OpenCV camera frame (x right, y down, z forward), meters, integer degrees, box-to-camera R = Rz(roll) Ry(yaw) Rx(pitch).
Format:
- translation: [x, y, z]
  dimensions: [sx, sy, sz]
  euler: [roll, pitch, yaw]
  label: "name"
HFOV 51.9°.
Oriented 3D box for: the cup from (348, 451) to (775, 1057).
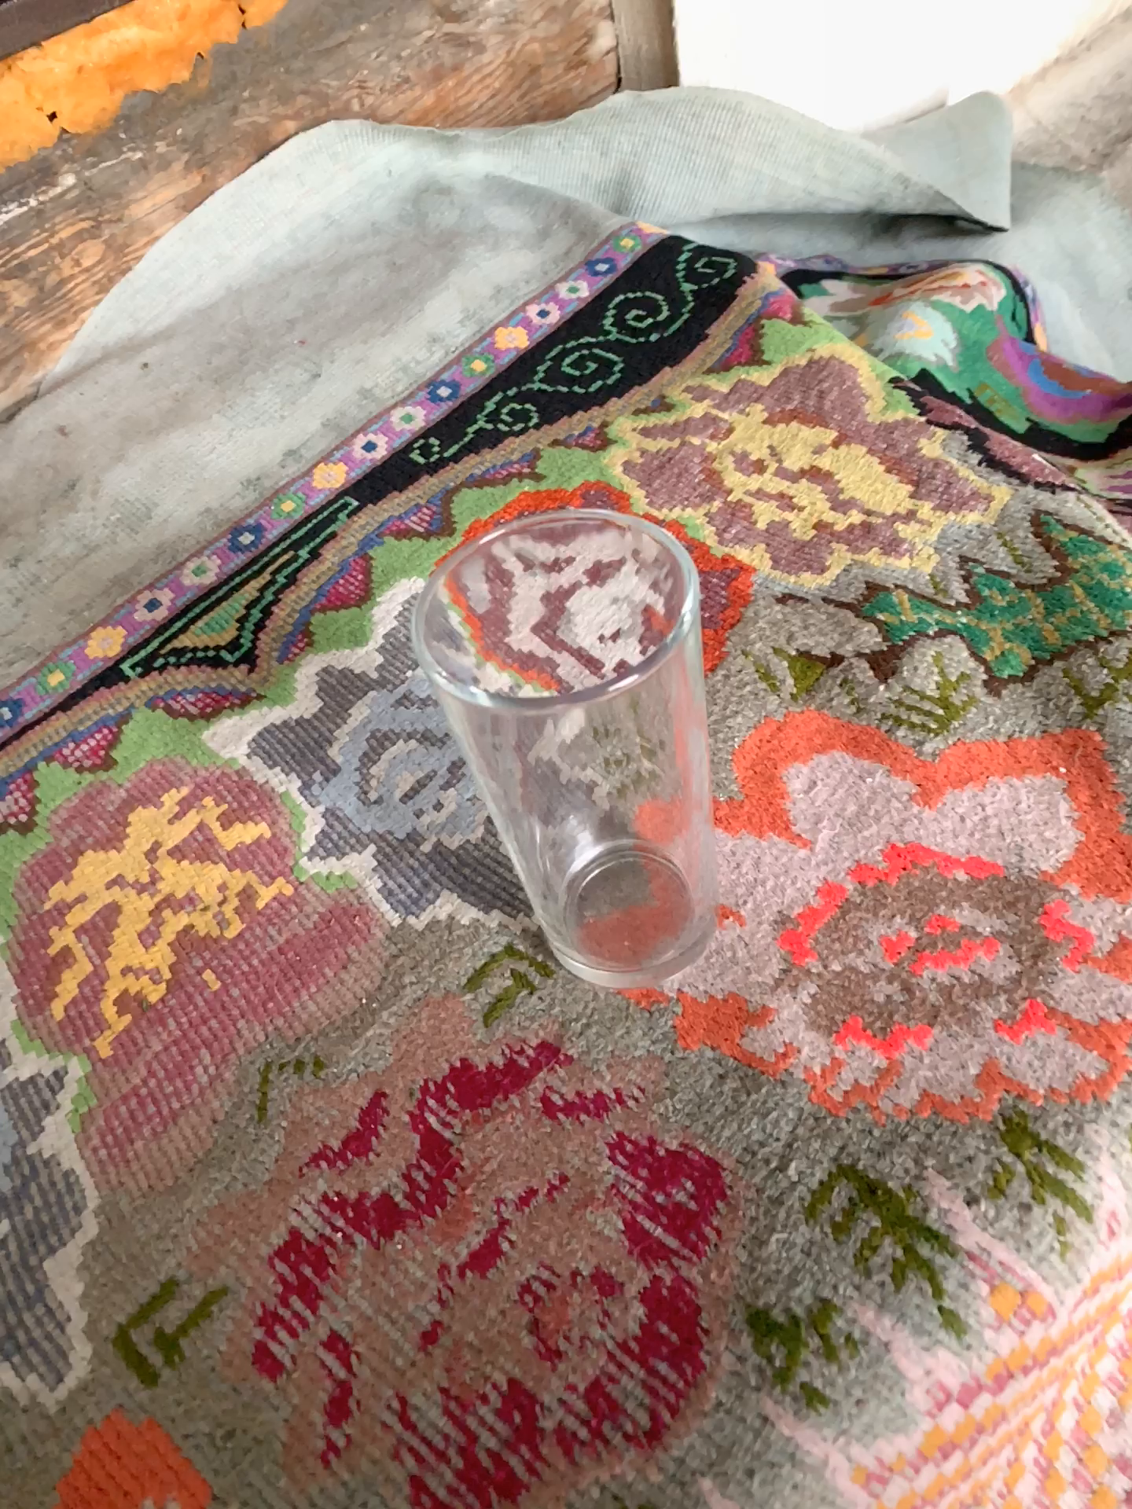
- translation: [0.004, 0.005, 0.268]
  dimensions: [0.060, 0.119, 0.060]
  euler: [-7, 48, 8]
  label: "cup"
